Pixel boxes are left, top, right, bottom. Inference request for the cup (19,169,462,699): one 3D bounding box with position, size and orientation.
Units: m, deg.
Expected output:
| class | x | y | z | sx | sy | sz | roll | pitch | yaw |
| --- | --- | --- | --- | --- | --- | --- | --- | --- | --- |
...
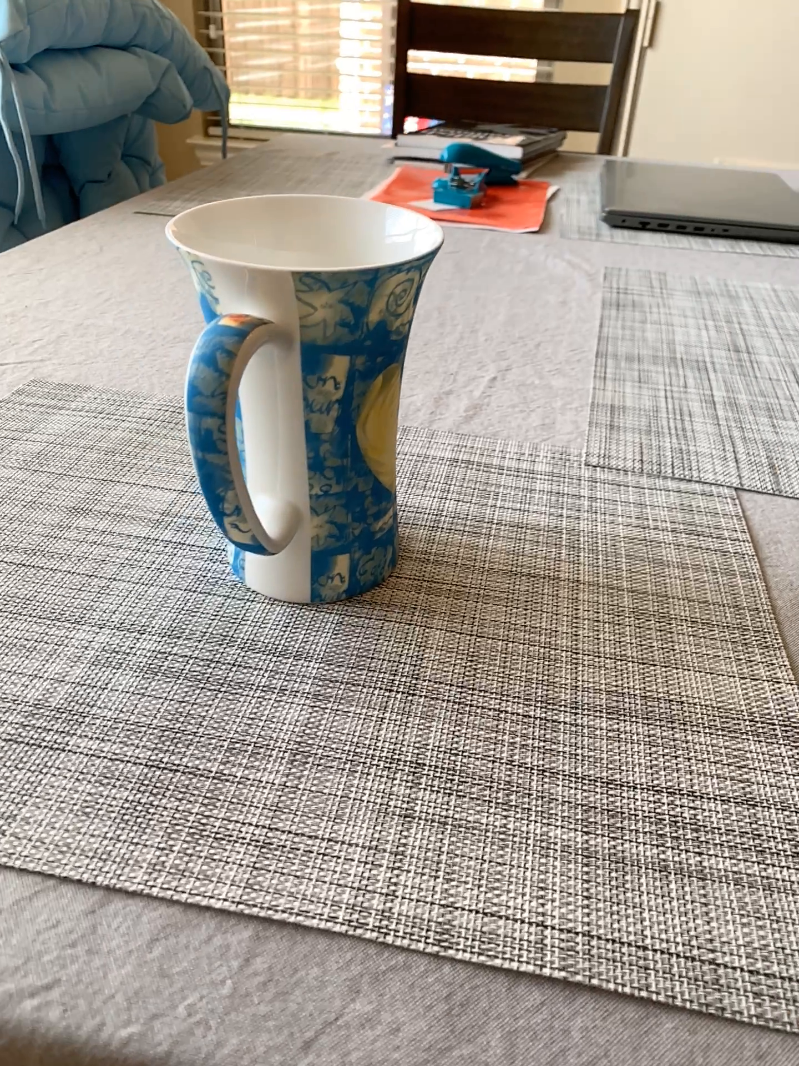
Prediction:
| class | x | y | z | sx | sy | sz | roll | pitch | yaw |
| --- | --- | --- | --- | --- | --- | --- | --- | --- | --- |
| cup | -0.047 | -0.050 | 0.334 | 0.099 | 0.148 | 0.153 | 11 | 34 | 12 |
